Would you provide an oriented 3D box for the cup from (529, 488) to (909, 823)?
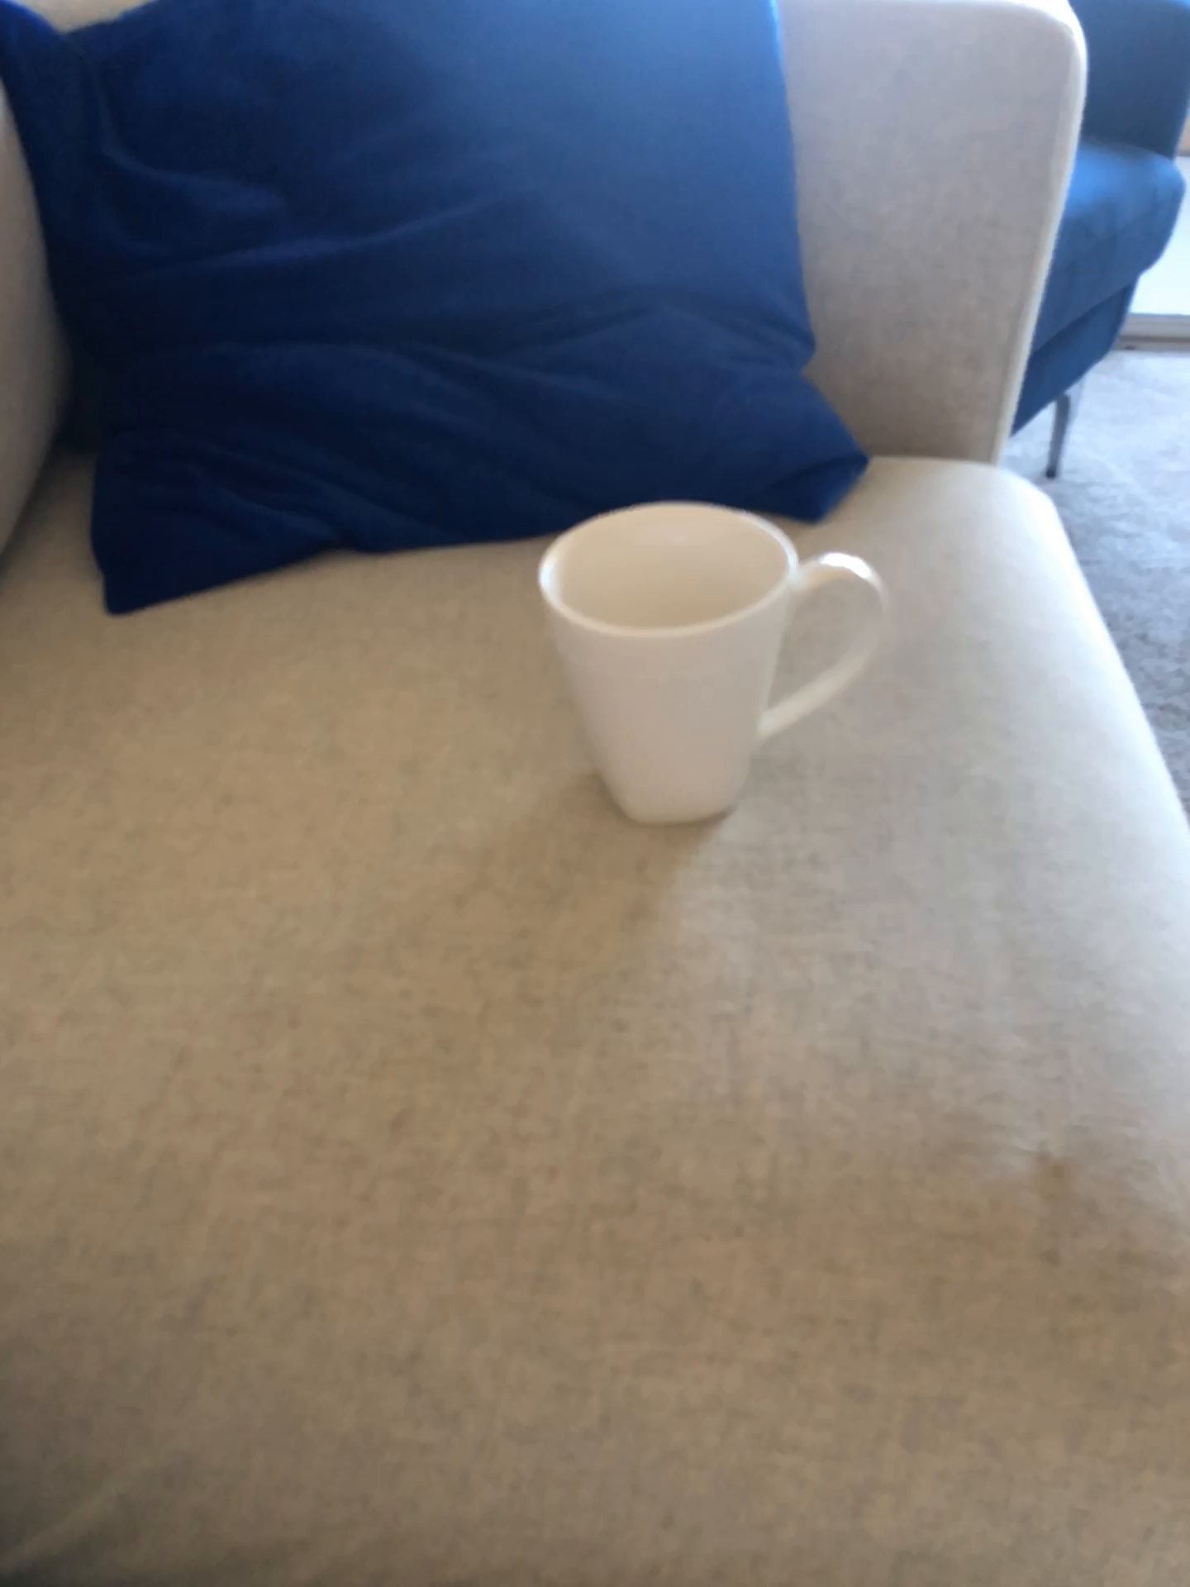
[{"bbox_3d":[0.041,-0.056,0.508,0.130,0.090,0.100,1,37,-1],"label":"cup"}]
